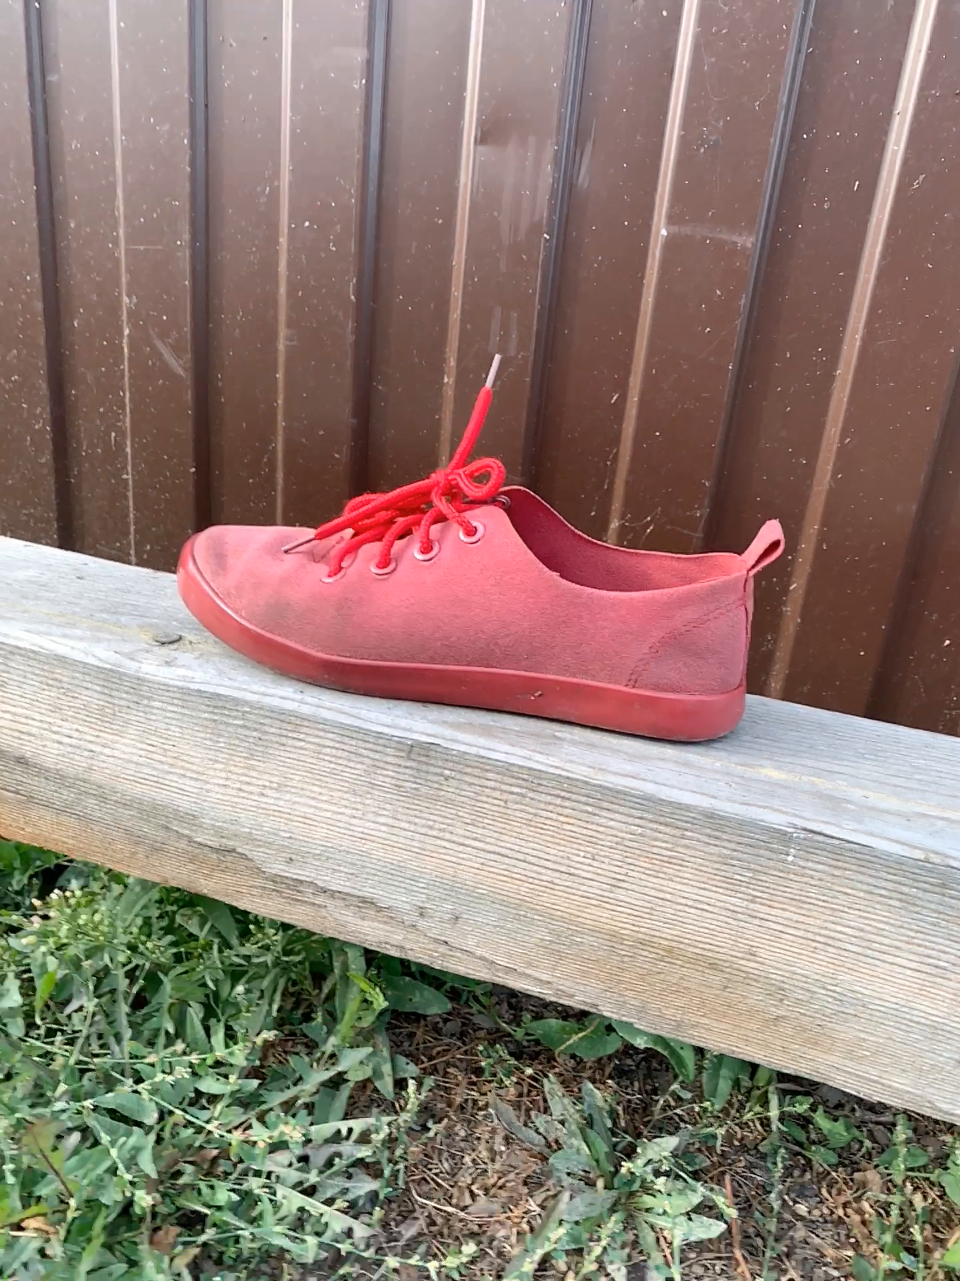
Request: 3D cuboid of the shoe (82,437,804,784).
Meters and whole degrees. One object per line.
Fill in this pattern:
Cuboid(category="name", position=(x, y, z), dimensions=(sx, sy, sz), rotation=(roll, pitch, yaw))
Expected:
Cuboid(category="shoe", position=(-0.012, -0.021, 0.376), dimensions=(0.240, 0.069, 0.101), rotation=(9, 21, 9))
